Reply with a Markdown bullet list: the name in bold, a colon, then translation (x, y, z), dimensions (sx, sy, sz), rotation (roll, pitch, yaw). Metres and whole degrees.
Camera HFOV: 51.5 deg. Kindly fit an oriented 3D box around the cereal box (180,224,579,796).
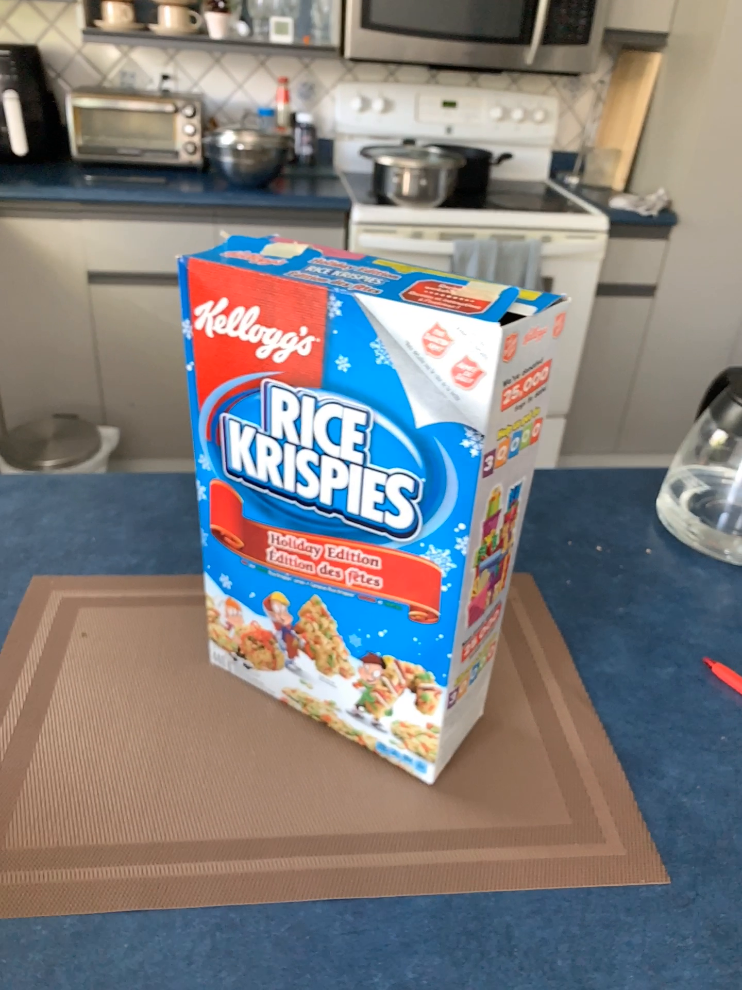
- **cereal box**: translation (-0.012, 0.011, 0.520), dimensions (0.220, 0.327, 0.081), rotation (20, 32, 25)
